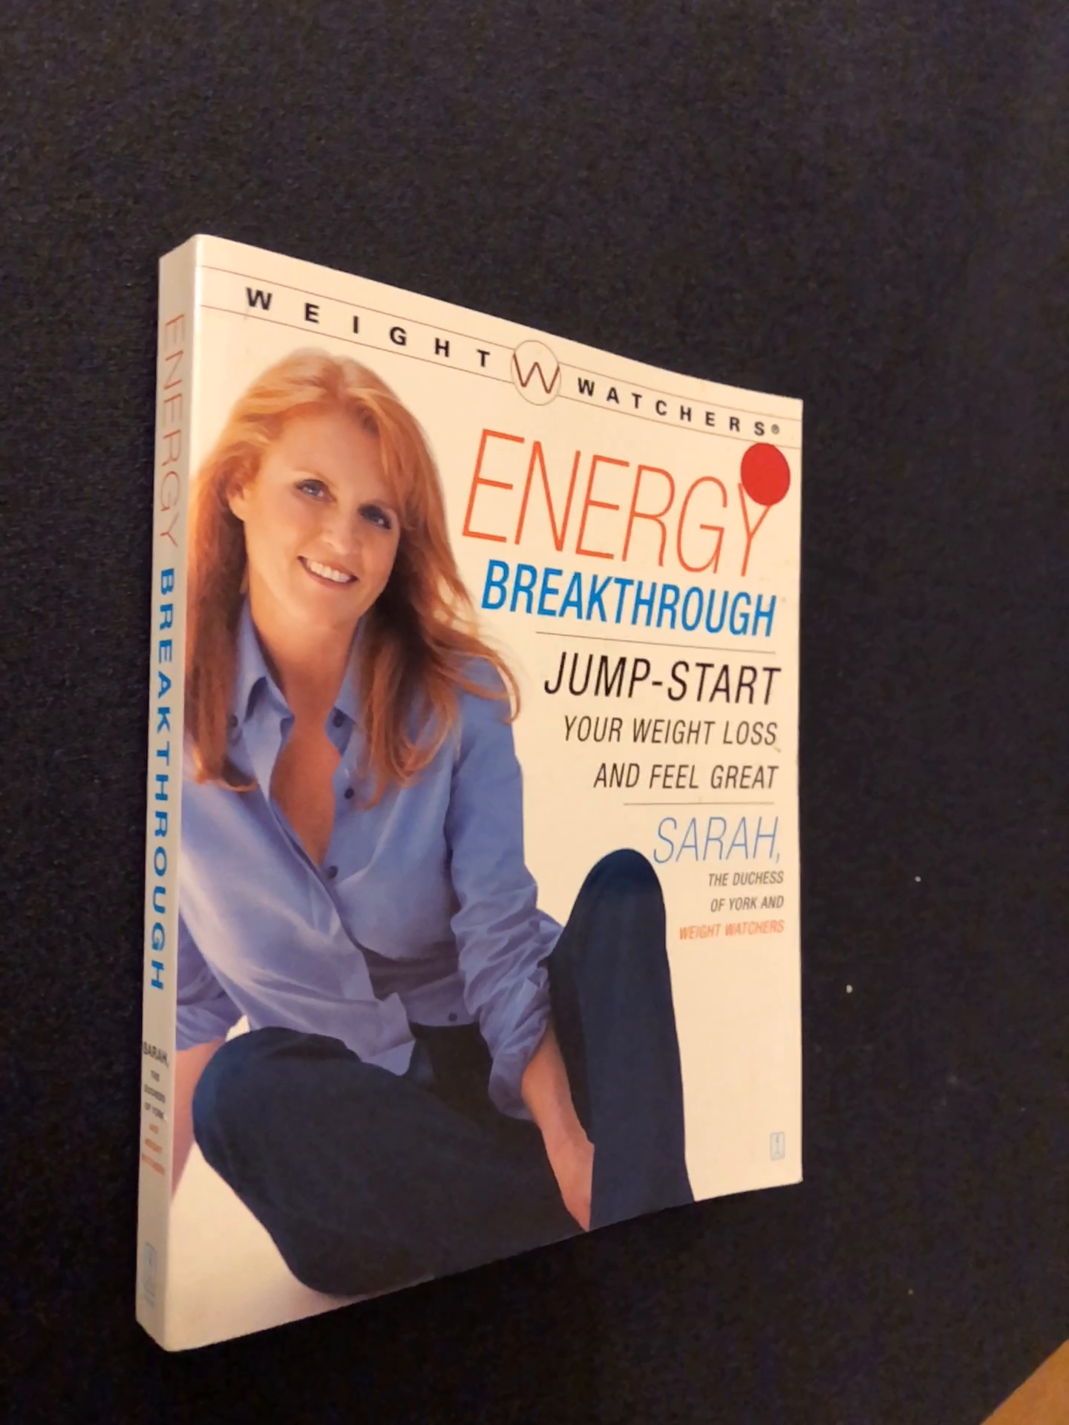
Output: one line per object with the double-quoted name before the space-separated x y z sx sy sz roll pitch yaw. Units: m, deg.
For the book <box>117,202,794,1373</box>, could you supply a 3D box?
"book" -0.006 0.016 0.305 0.186 0.030 0.234 3 86 -38
